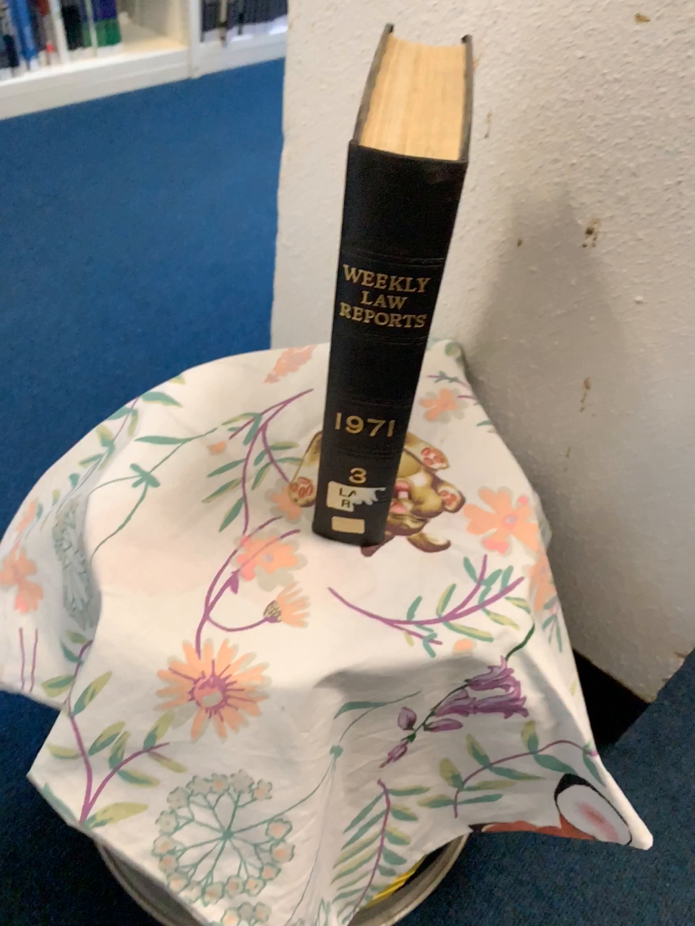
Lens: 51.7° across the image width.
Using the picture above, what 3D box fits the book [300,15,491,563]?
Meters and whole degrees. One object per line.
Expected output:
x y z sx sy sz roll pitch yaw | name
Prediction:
0.021 -0.086 0.401 0.052 0.244 0.163 9 45 0 | book
